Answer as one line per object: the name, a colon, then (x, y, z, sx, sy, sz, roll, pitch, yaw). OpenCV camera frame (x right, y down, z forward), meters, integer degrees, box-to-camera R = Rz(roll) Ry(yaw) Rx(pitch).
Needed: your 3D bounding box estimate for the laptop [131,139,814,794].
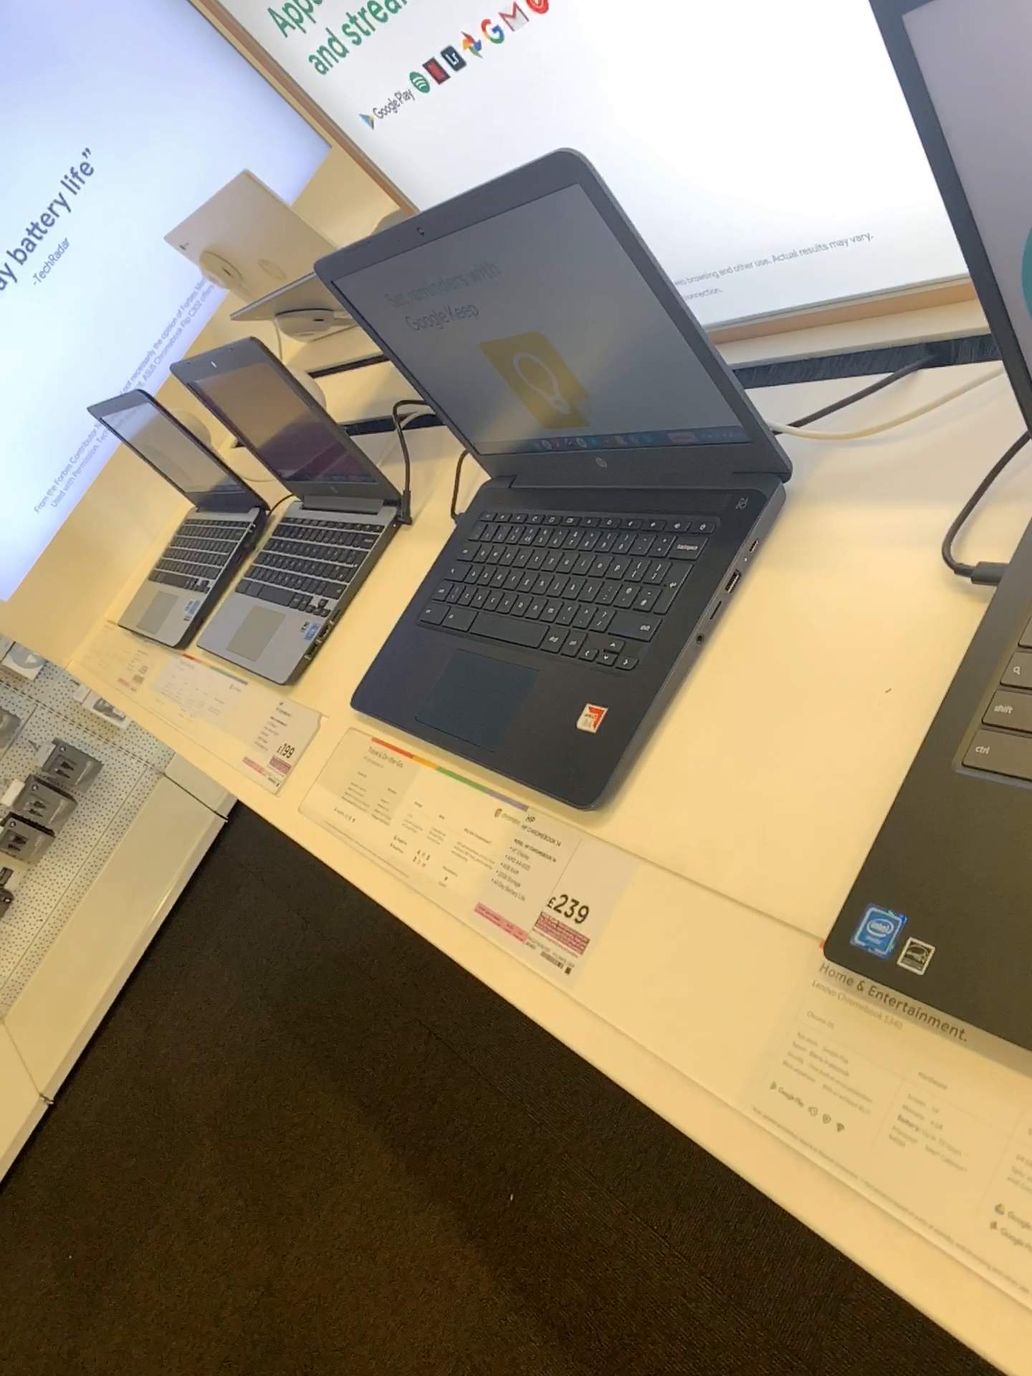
laptop: (-0.050, -0.126, 0.674, 0.333, 0.209, 0.244, 17, 73, 57)

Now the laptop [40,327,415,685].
laptop: (-0.290, -0.176, 1.038, 0.272, 0.186, 0.241, 14, 71, 55)

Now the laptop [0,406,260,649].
laptop: (-0.500, -0.201, 1.335, 0.336, 0.189, 0.191, 17, 74, 58)
